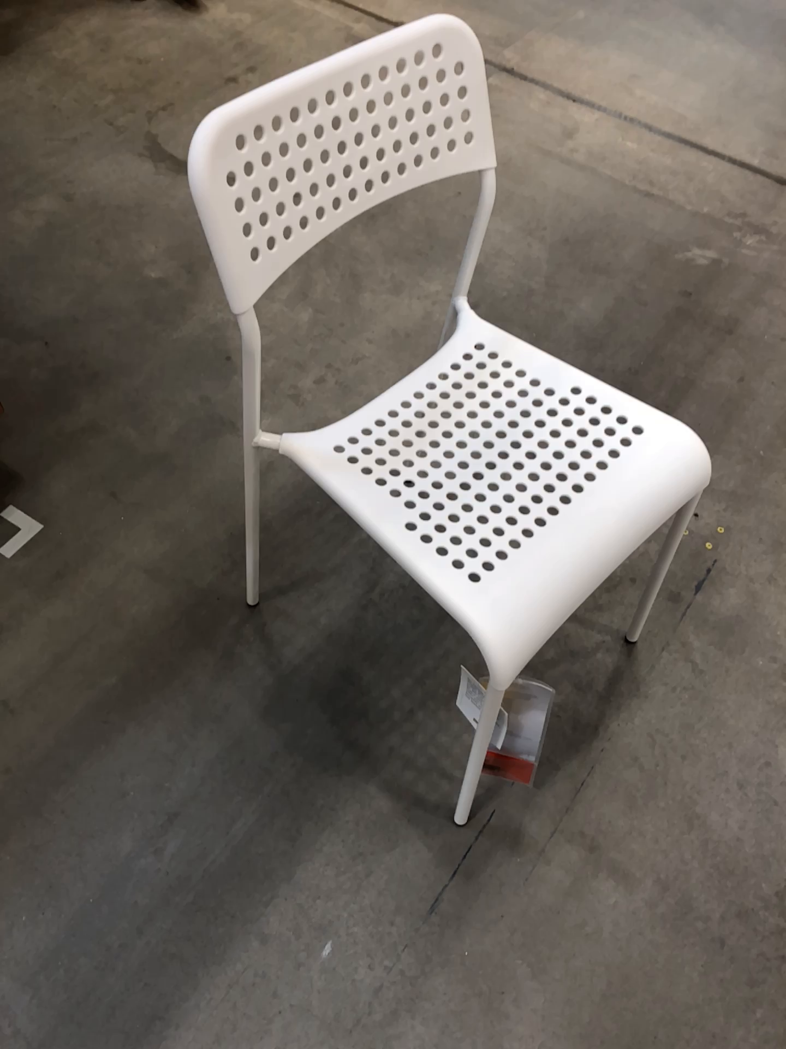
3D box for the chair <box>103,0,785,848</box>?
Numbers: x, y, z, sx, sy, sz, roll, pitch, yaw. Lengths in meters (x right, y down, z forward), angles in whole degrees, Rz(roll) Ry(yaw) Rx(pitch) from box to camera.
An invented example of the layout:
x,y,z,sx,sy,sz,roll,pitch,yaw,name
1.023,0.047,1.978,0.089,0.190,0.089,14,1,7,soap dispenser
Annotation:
x,y,z,sx,sy,sz,roll,pitch,yaw,name
0.093,-0.088,0.971,0.461,0.698,0.510,-38,65,-26,chair
